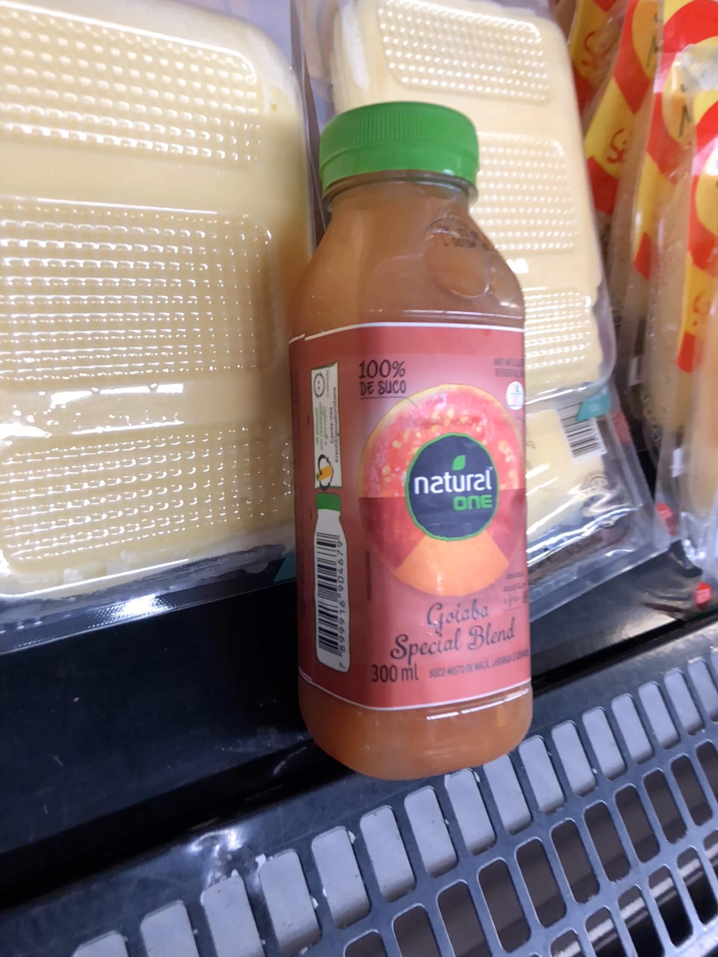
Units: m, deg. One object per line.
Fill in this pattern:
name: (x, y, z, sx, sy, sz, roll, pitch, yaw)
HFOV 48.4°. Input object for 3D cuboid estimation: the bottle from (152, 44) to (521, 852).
bottle: (-0.010, -0.008, 0.222, 0.060, 0.070, 0.180, -3, 87, -33)
